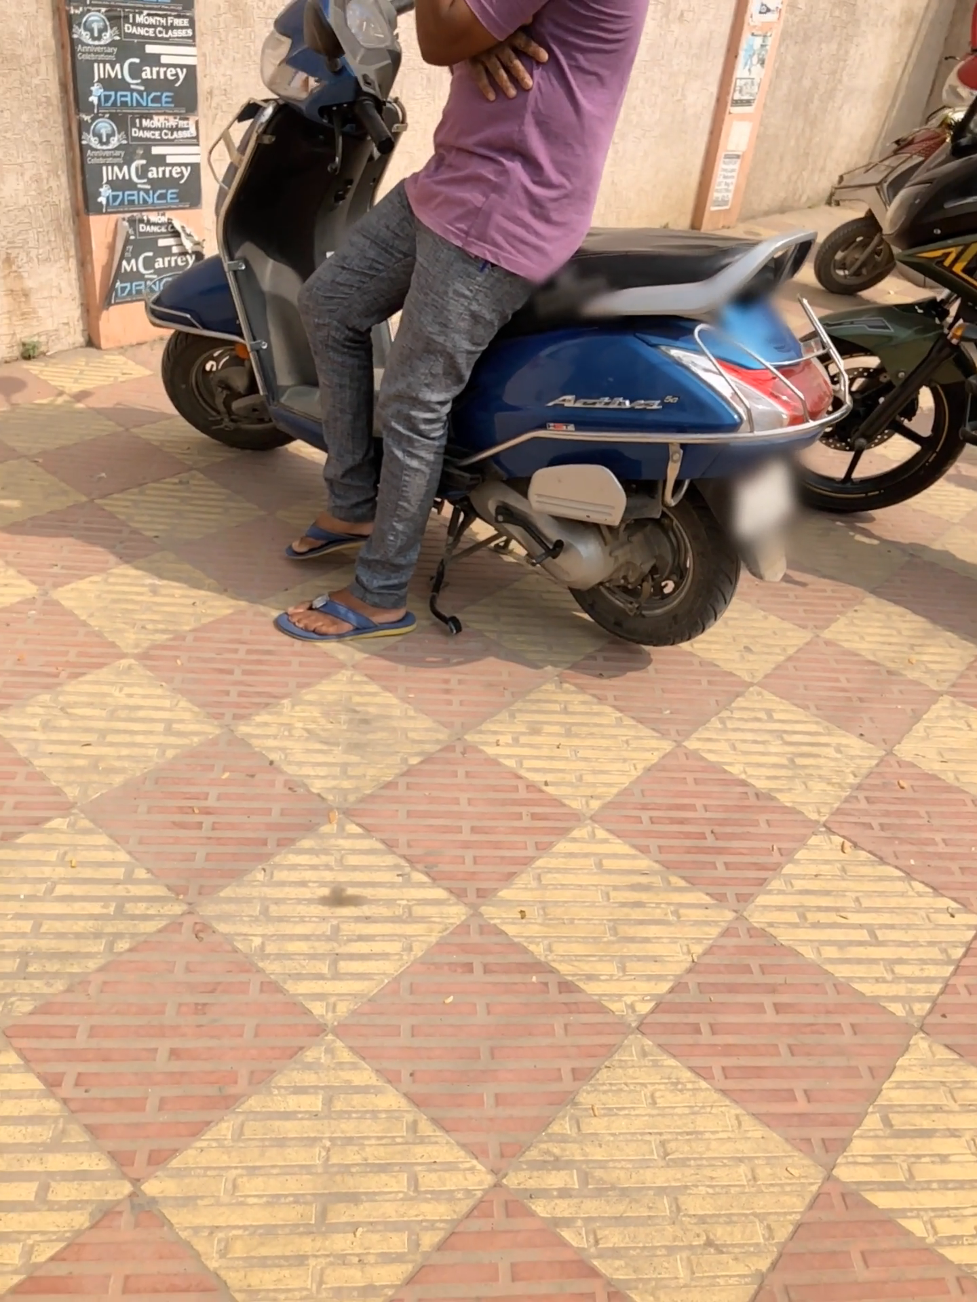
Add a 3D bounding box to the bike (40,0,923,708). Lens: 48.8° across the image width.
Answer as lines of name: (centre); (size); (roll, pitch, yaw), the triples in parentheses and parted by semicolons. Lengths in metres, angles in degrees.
bike: (-0.133, -0.771, 2.381); (1.700, 1.037, 0.626); (25, 37, 26)
